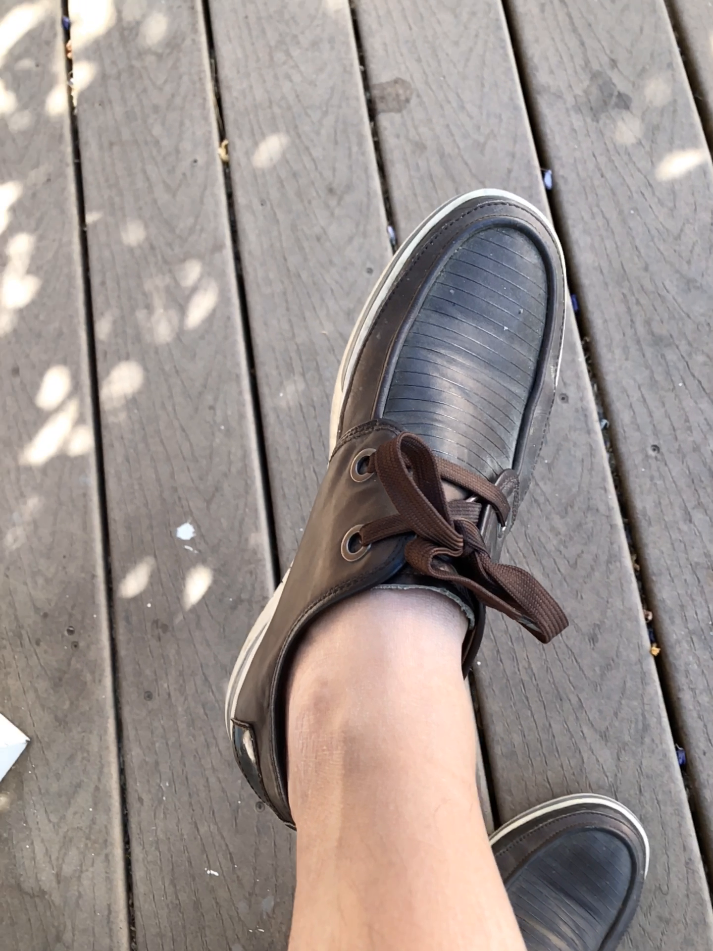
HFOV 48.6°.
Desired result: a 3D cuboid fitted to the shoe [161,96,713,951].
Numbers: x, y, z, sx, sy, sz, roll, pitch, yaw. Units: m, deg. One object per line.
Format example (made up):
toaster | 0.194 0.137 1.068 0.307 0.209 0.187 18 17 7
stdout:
shoe | 0.031 0.020 0.342 0.118 0.104 0.295 21 91 -9
